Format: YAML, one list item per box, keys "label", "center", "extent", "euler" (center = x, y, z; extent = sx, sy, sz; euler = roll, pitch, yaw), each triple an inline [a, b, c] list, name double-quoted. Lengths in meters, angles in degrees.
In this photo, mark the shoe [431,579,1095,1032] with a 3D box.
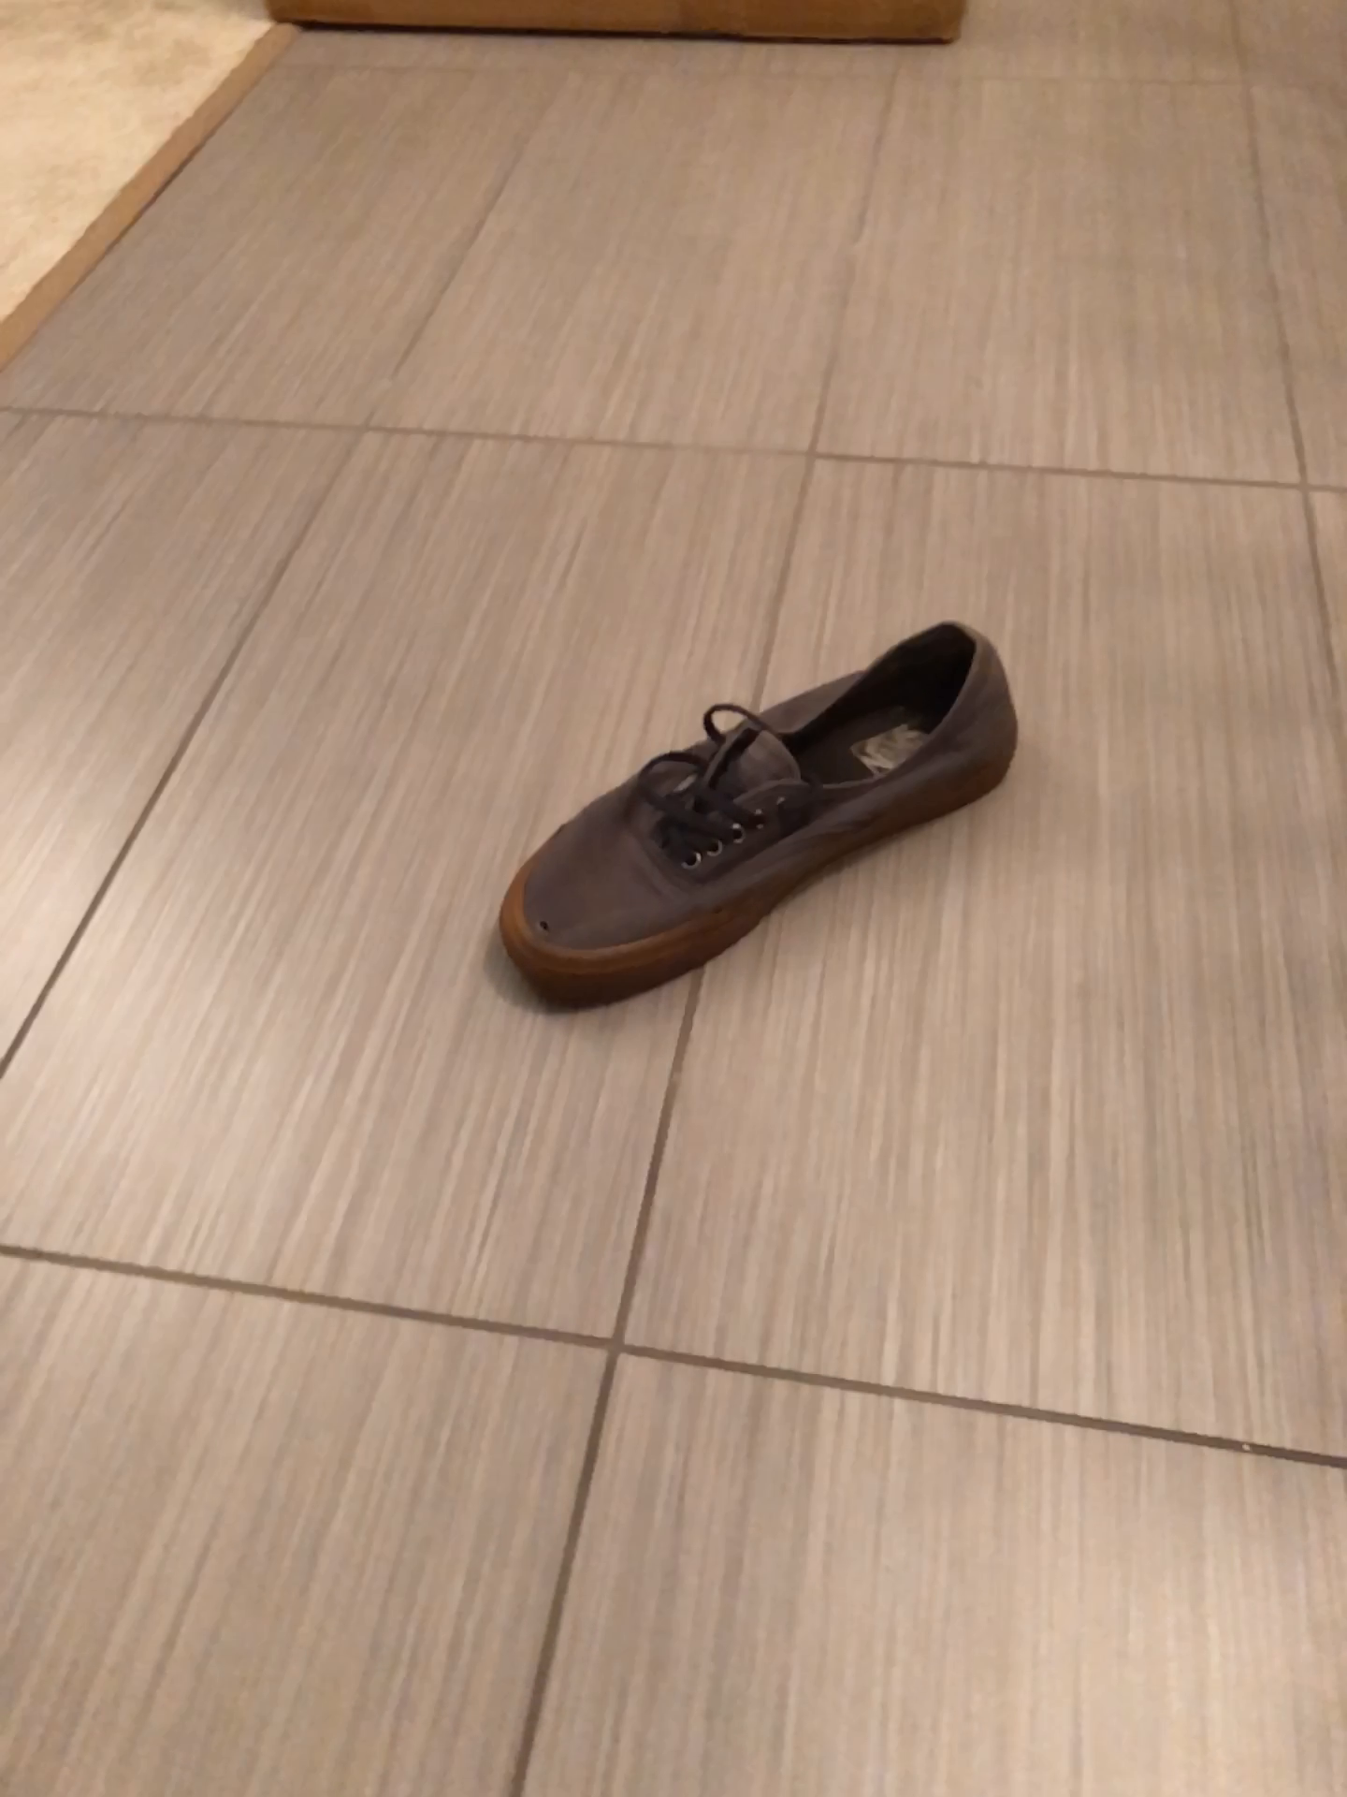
- label: "shoe"
  center: [0.045, -0.052, 0.709]
  extent: [0.291, 0.060, 0.110]
  euler: [-24, 51, -17]
